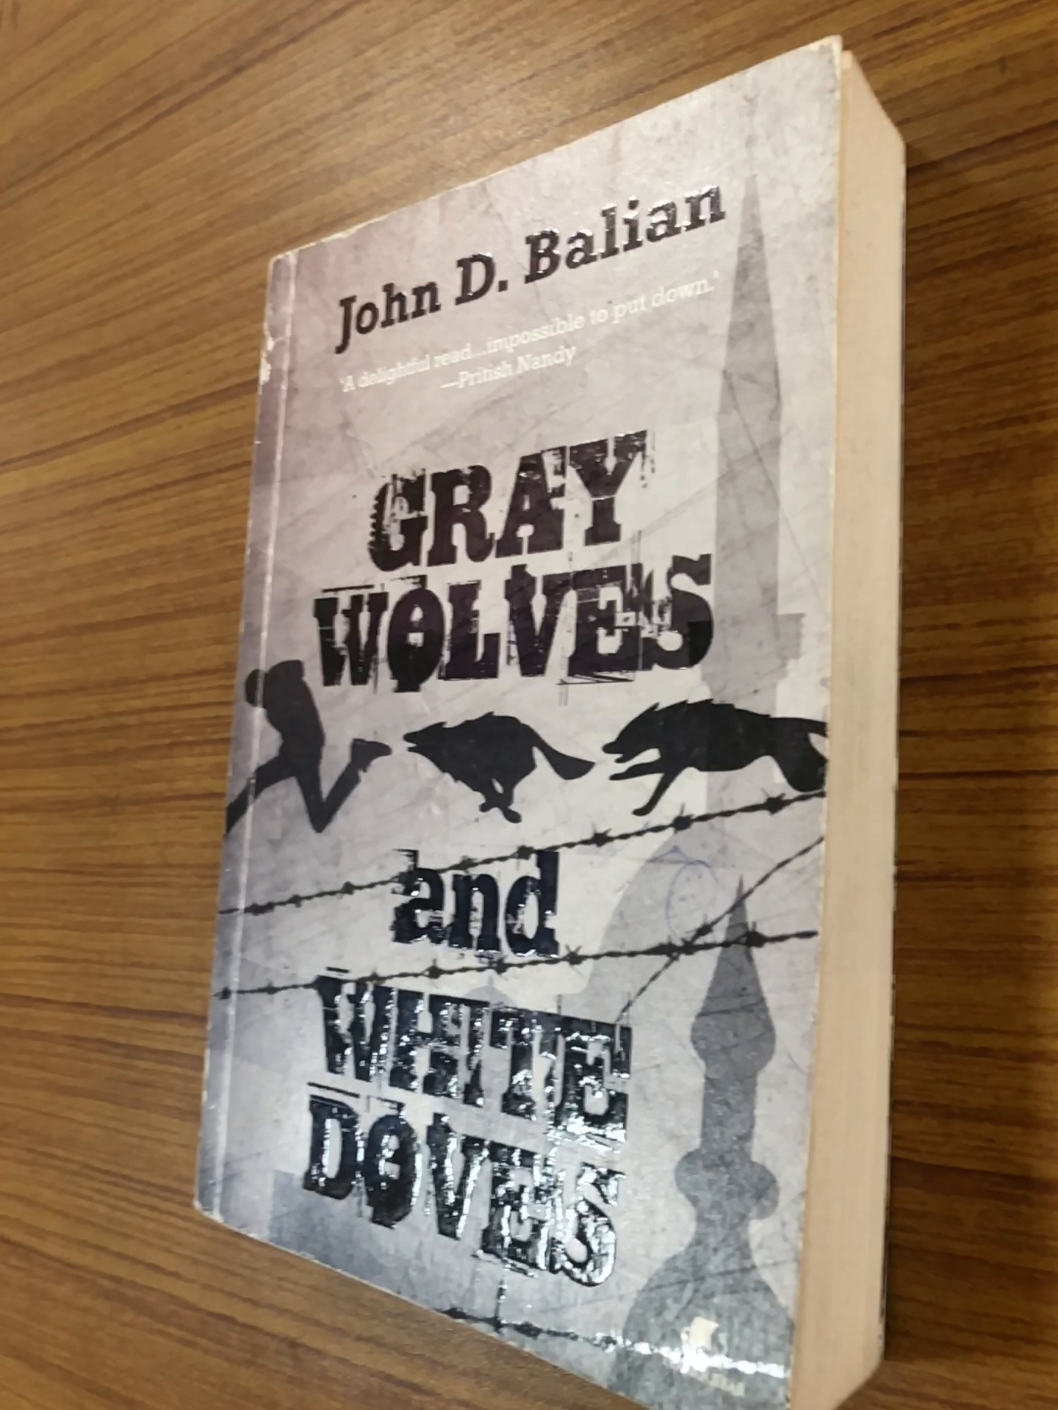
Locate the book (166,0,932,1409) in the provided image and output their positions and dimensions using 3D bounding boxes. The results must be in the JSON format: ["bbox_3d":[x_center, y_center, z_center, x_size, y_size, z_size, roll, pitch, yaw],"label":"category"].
[{"bbox_3d":[-0.003,-0.005,0.205,0.131,0.030,0.210,-1,82,40],"label":"book"}]
